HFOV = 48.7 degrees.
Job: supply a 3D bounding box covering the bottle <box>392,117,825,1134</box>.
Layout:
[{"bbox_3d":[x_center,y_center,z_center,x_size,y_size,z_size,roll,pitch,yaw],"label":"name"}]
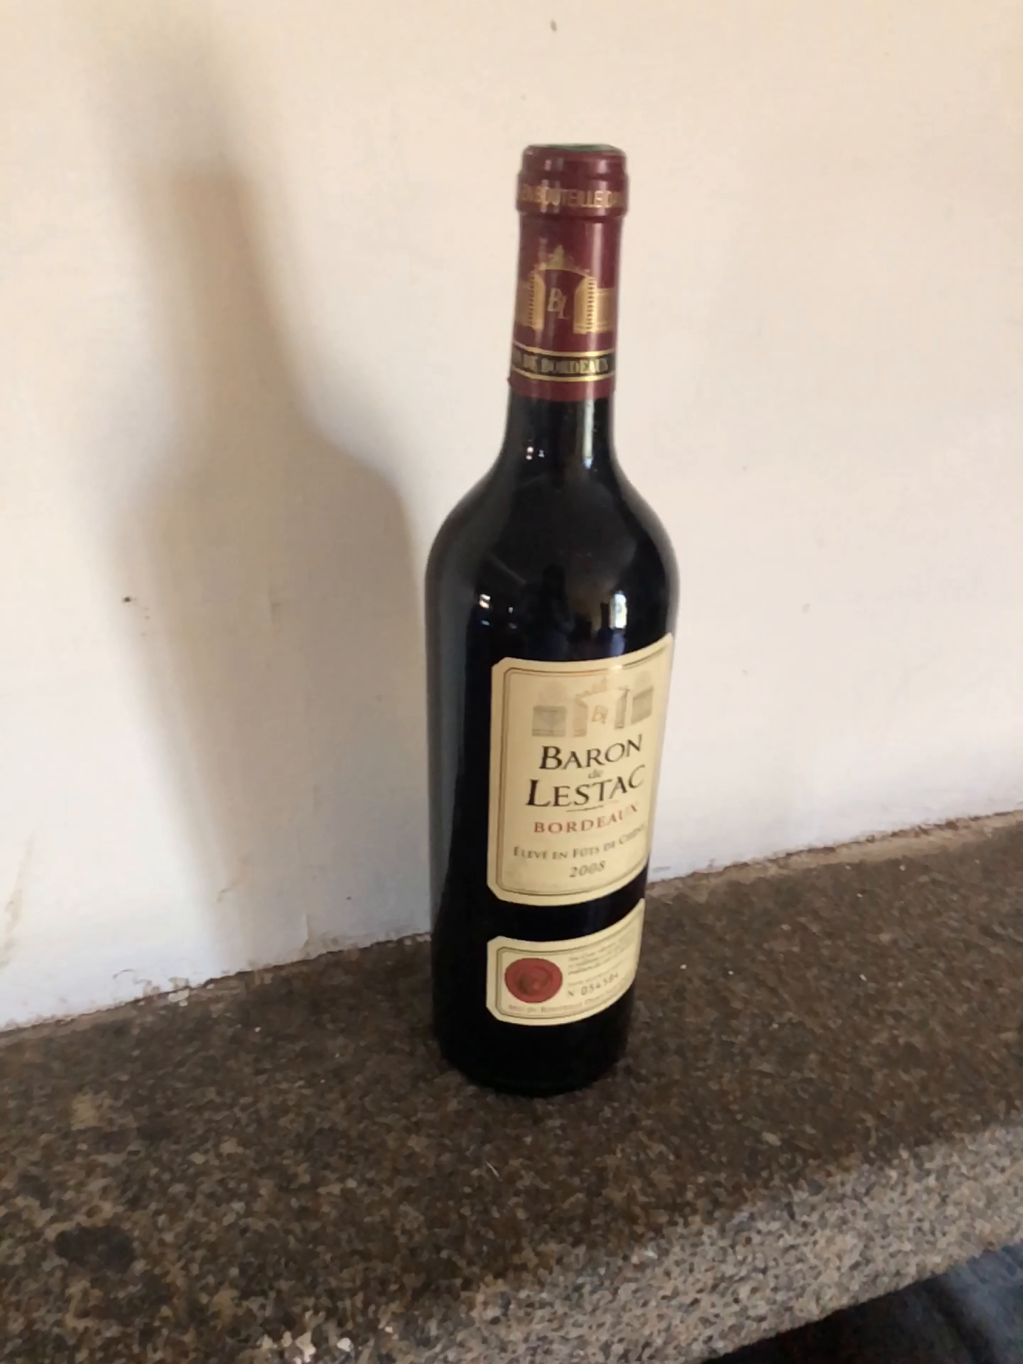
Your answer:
[{"bbox_3d":[0.017,-0.006,0.326,0.080,0.278,0.070,-8,28,-16],"label":"bottle"}]
